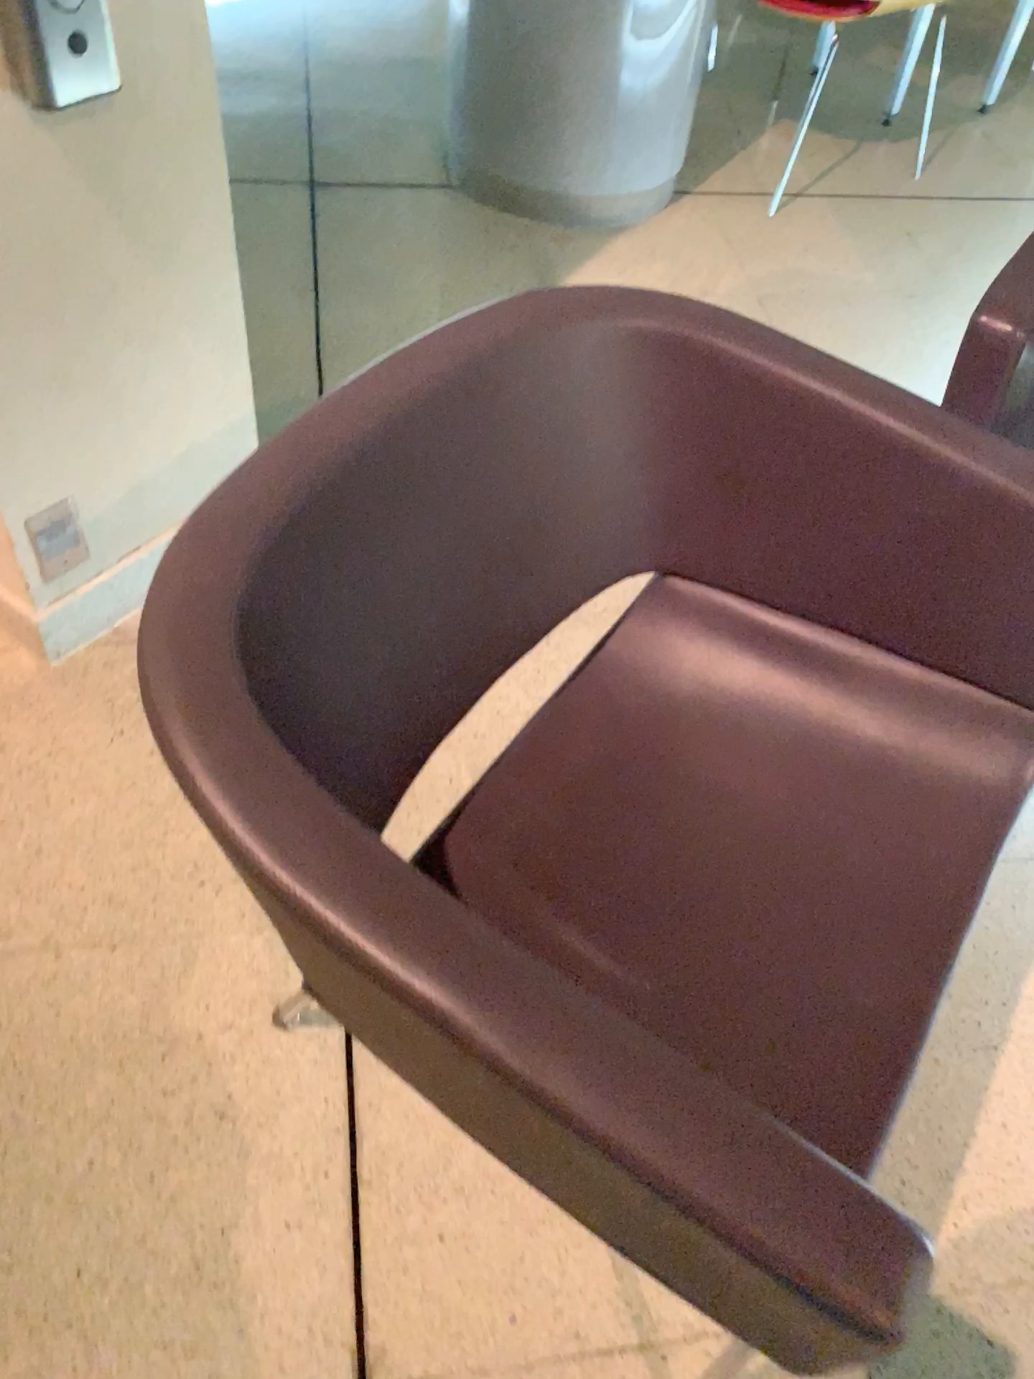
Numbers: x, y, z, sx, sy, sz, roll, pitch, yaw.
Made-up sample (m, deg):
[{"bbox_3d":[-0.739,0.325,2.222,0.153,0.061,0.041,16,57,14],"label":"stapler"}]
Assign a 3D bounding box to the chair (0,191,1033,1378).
[{"bbox_3d":[0.143,0.120,1.008,0.752,0.714,0.734,31,53,19],"label":"chair"}]
